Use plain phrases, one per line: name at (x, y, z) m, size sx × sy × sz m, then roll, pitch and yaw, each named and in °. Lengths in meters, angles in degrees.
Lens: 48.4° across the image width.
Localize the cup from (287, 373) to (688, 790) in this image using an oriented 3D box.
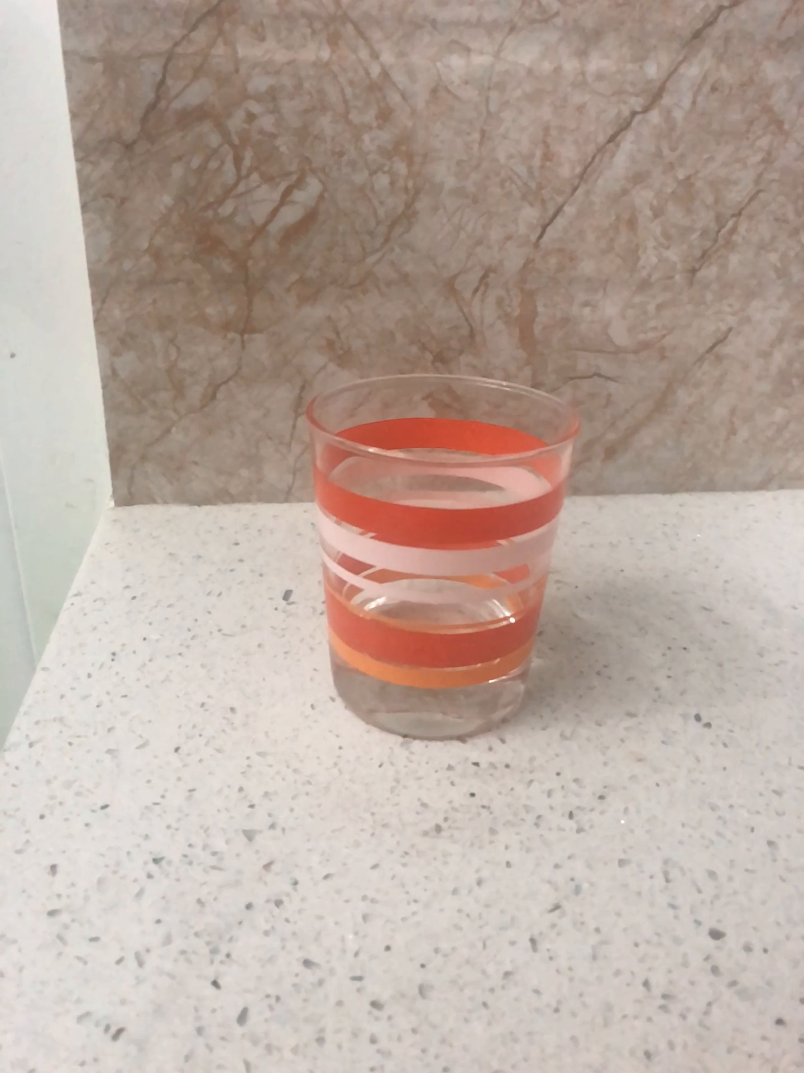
cup at (0.017, 0.007, 0.269) m, size 0.090 × 0.090 × 0.080 m, roll -5°, pitch 25°, yaw -14°
